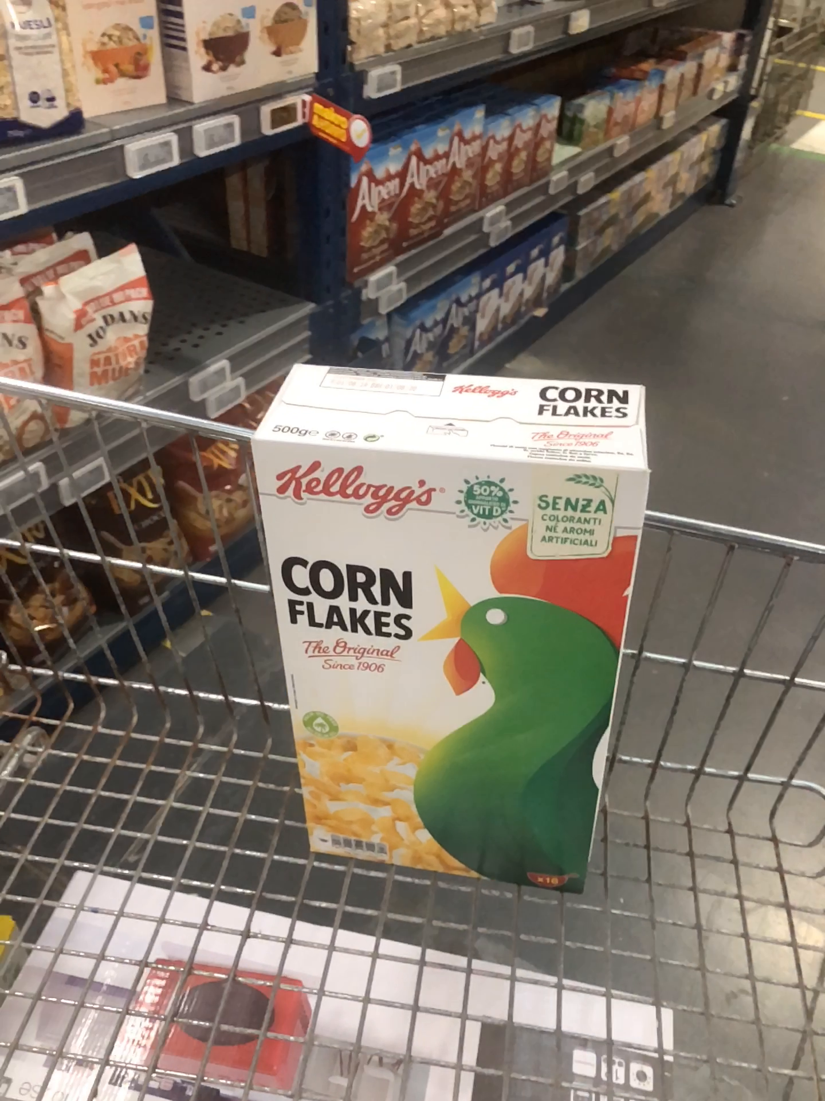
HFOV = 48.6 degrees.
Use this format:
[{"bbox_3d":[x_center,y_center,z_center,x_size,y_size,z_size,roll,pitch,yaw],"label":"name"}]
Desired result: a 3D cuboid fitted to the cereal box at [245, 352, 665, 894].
[{"bbox_3d":[0.027,0.059,0.546,0.190,0.328,0.090,5,39,8],"label":"cereal box"}]
